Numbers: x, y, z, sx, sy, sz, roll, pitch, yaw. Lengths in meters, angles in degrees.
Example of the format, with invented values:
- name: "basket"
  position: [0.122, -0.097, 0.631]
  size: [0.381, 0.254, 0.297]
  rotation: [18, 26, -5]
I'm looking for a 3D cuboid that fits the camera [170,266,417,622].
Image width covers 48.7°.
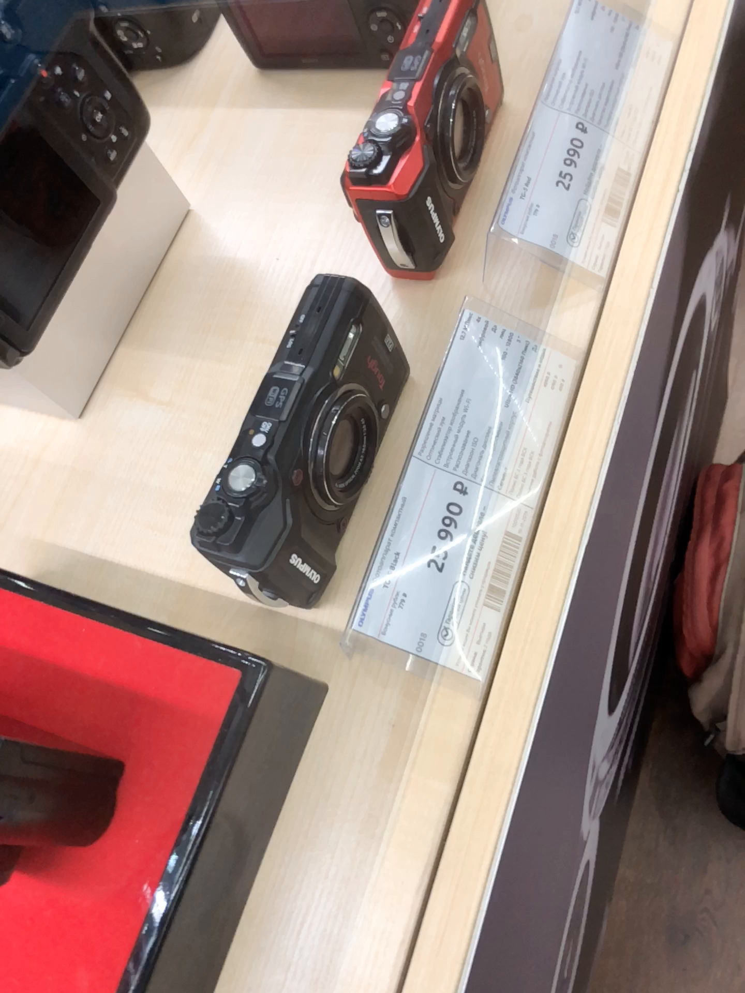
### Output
- name: "camera"
  position: [-0.024, -0.020, 0.311]
  size: [0.030, 0.060, 0.117]
  rotation: [14, 71, 25]

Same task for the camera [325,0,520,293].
- name: "camera"
  position: [0.026, -0.153, 0.346]
  size: [0.030, 0.060, 0.117]
  rotation: [14, 71, 25]
